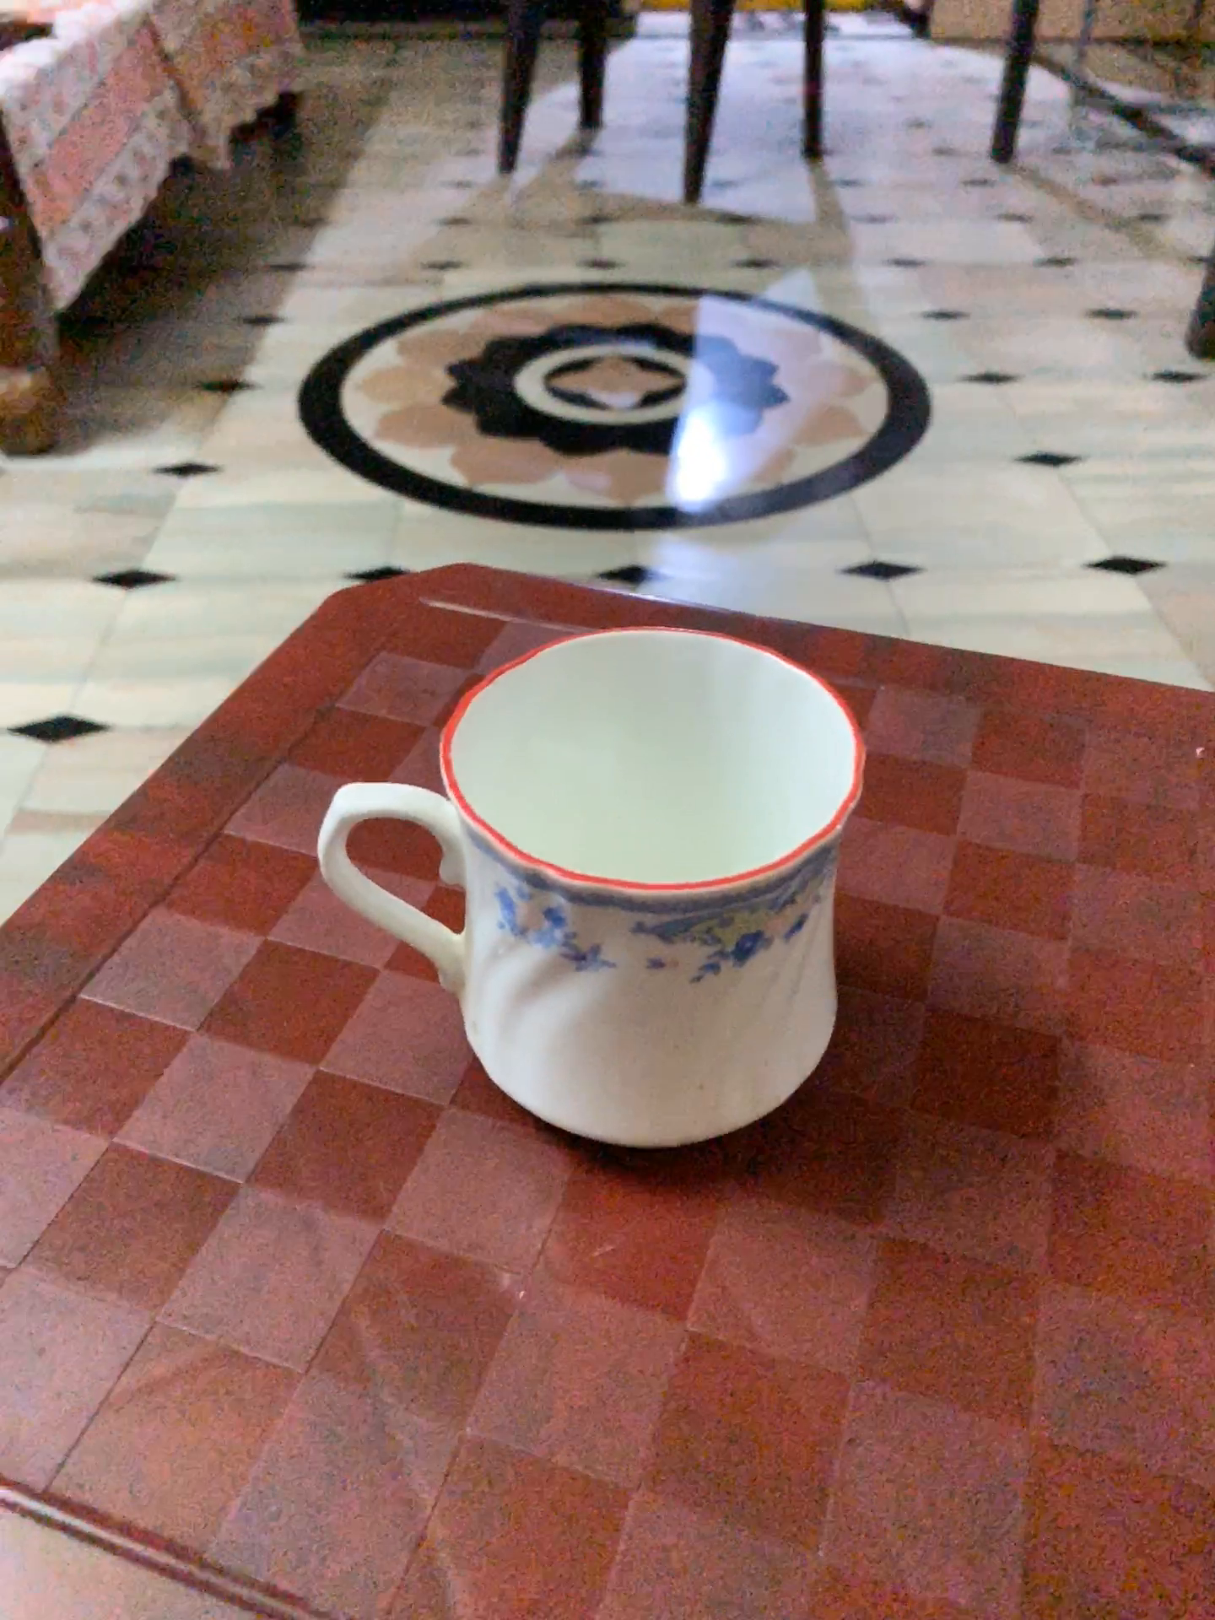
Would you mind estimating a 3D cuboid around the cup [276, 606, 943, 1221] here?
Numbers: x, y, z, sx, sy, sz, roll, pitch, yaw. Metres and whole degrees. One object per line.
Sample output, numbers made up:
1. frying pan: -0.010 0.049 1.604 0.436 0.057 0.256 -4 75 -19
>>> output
1. cup: -0.001 0.018 0.222 0.090 0.080 0.070 -1 40 -2
